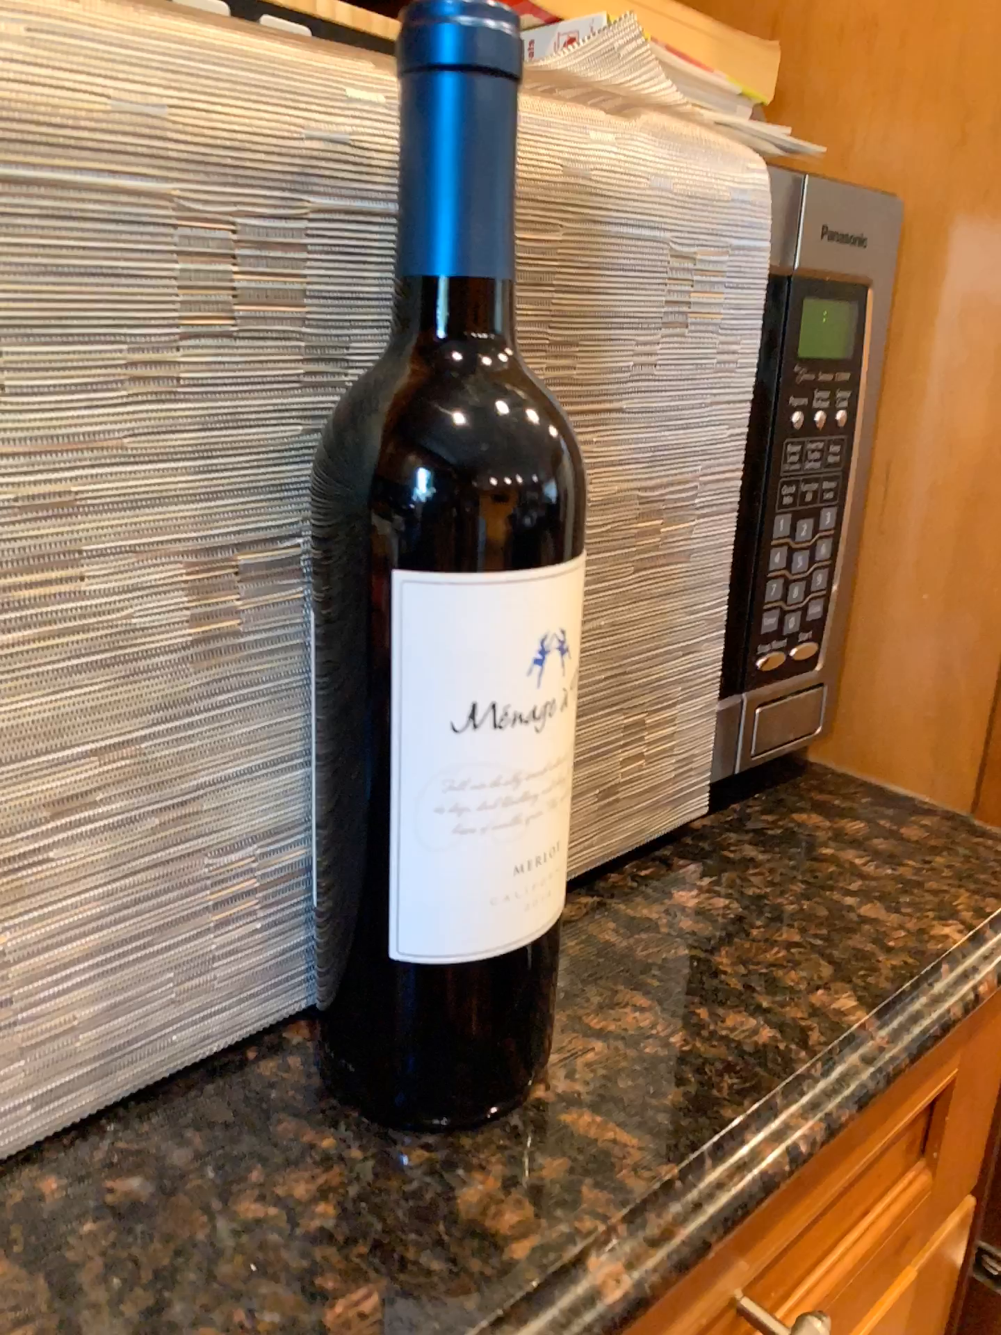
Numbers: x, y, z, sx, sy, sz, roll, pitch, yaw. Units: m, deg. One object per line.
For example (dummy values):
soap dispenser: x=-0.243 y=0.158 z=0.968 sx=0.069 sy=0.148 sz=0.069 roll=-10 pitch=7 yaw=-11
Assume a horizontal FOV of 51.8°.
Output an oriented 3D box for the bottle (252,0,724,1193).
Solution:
bottle: x=-0.010 y=-0.020 z=0.292 sx=0.080 sy=0.309 sz=0.080 roll=3 pitch=17 yaw=-1
